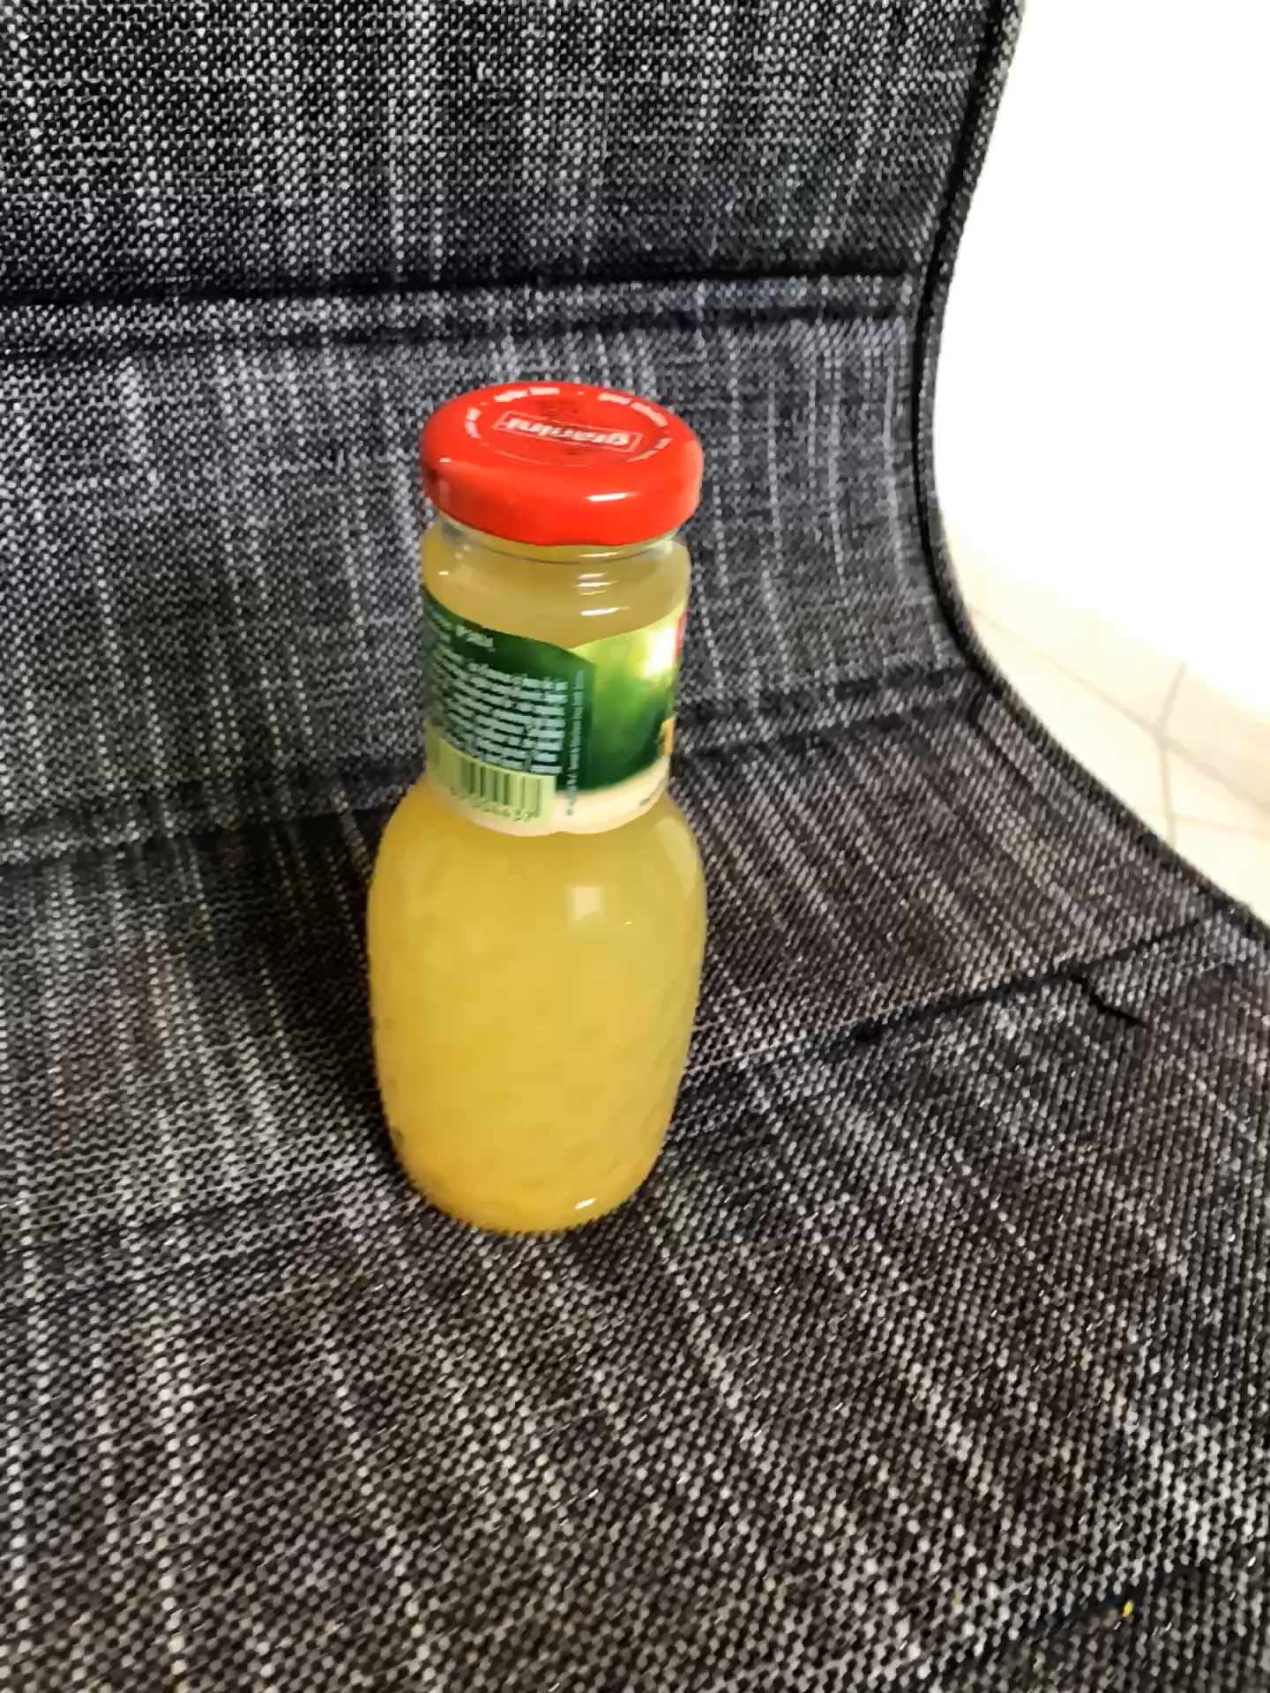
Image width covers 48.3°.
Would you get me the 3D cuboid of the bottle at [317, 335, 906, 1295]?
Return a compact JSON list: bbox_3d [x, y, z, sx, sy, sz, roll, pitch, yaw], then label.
[{"bbox_3d":[-0.013,-0.002,0.247,0.070,0.149,0.070,4,37,-3],"label":"bottle"}]
